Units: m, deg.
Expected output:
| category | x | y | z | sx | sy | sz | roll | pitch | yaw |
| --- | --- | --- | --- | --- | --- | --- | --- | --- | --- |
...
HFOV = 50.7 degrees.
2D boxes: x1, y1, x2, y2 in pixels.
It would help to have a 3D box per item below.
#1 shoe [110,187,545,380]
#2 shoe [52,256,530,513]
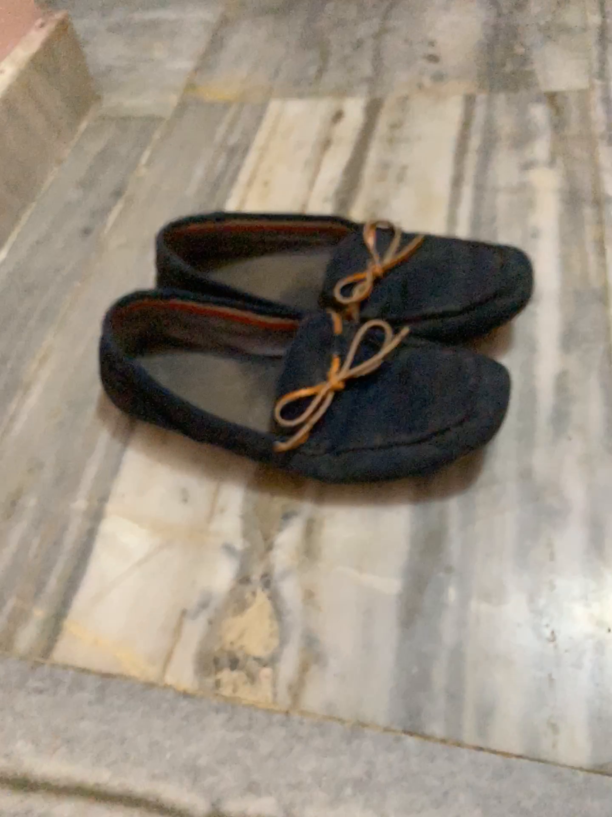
| category | x | y | z | sx | sy | sz | roll | pitch | yaw |
| --- | --- | --- | --- | --- | --- | --- | --- | --- | --- |
| shoe | 0.019 | -0.102 | 0.497 | 0.301 | 0.070 | 0.120 | 5 | 56 | 14 |
| shoe | -0.007 | -0.024 | 0.432 | 0.281 | 0.070 | 0.120 | 8 | 57 | 16 |
